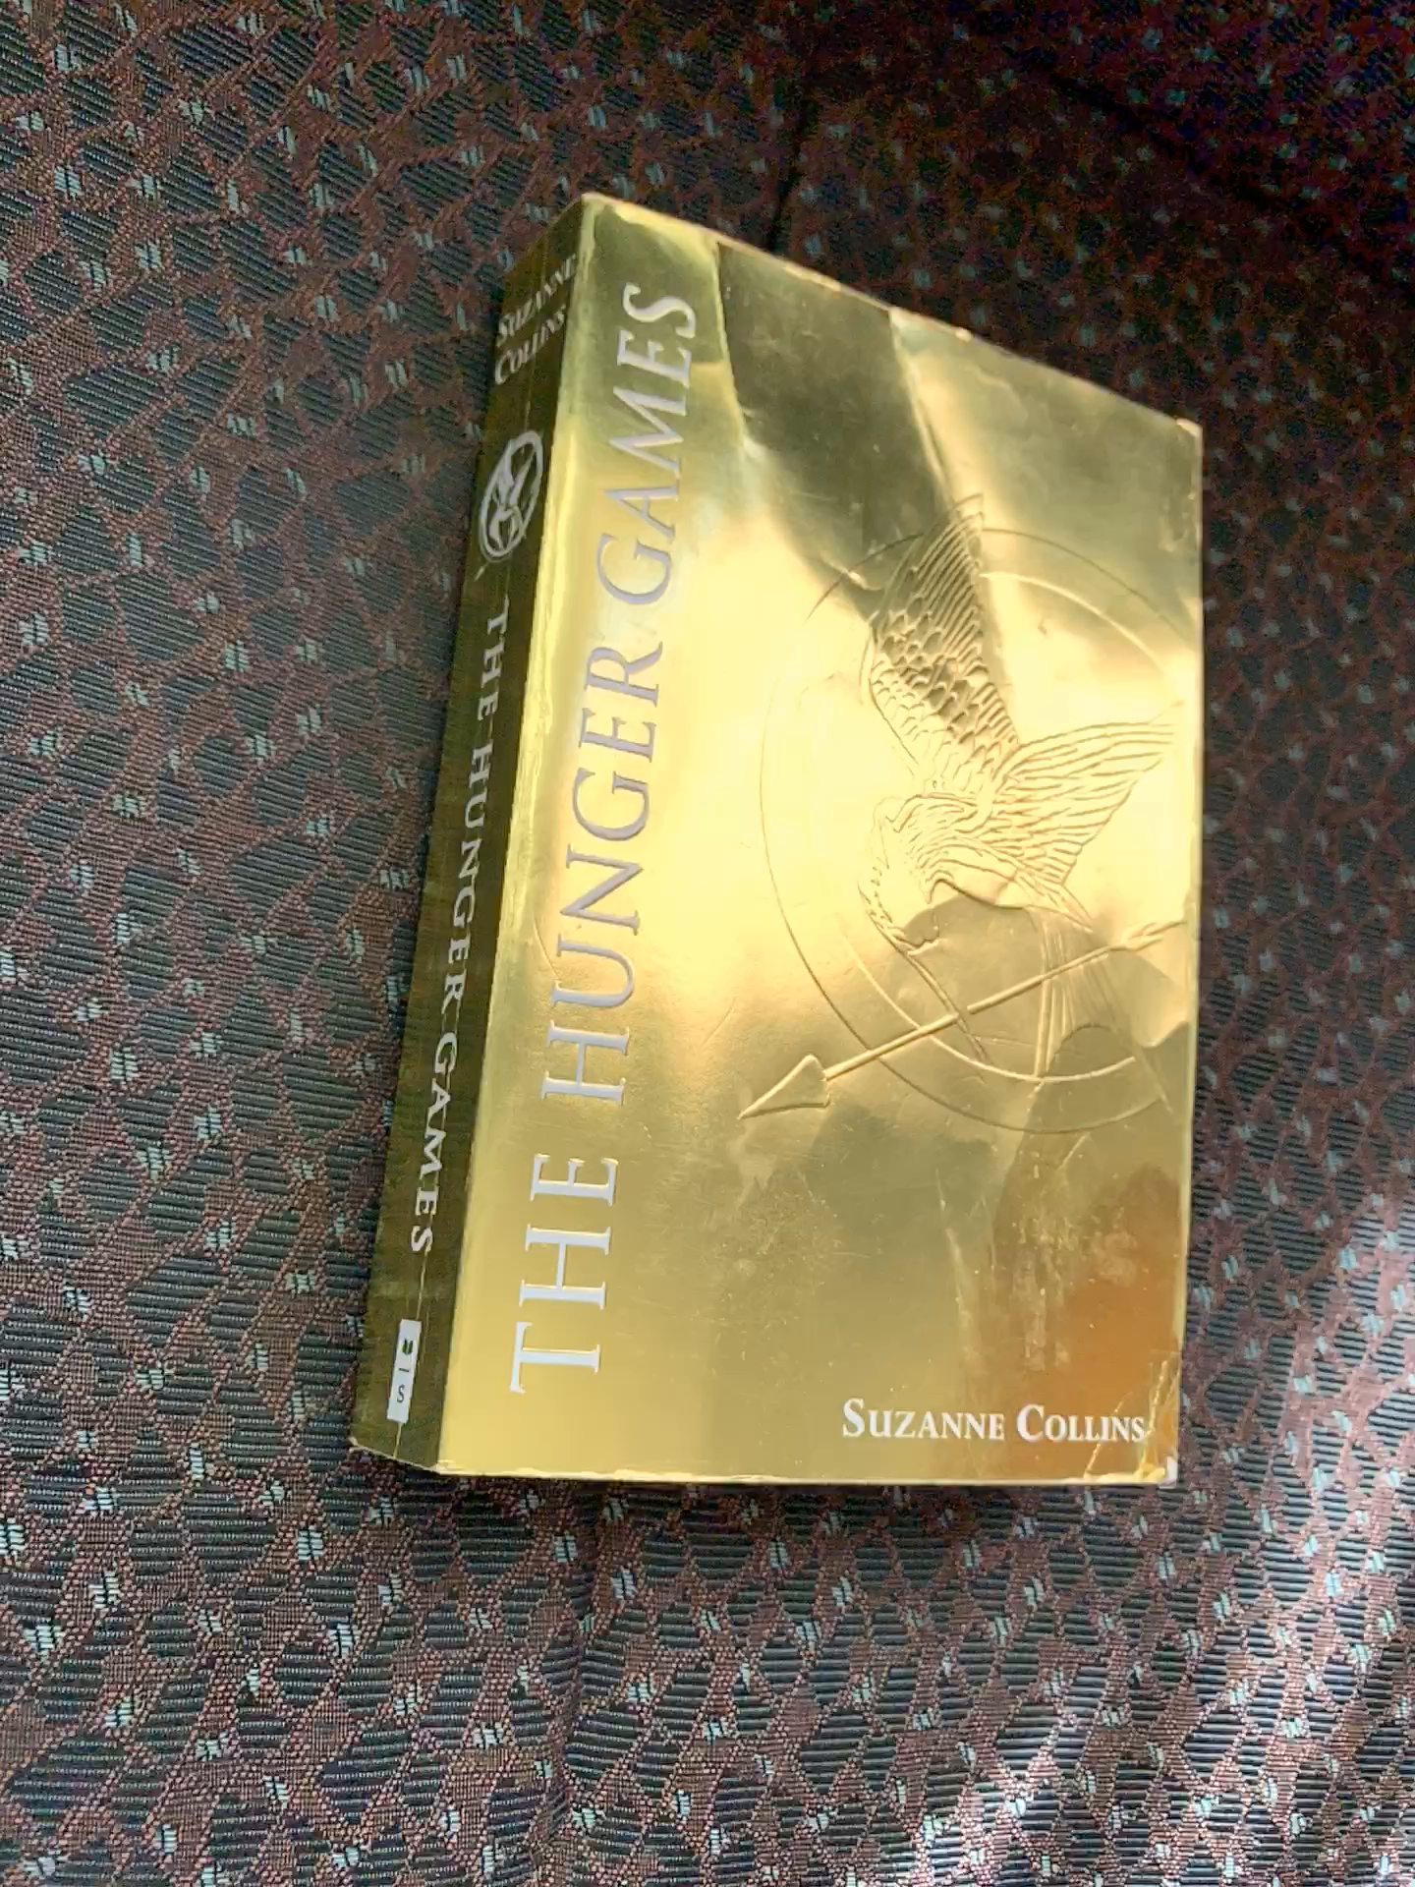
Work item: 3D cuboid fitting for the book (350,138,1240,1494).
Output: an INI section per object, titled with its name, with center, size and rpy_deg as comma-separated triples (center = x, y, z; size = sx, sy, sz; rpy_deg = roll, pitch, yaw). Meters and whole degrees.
[book]
center = 0.026, -0.013, 0.256
size = 0.142, 0.037, 0.200
rpy_deg = 11, 76, -26
